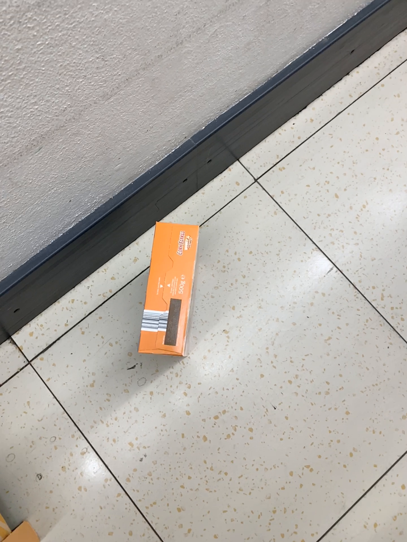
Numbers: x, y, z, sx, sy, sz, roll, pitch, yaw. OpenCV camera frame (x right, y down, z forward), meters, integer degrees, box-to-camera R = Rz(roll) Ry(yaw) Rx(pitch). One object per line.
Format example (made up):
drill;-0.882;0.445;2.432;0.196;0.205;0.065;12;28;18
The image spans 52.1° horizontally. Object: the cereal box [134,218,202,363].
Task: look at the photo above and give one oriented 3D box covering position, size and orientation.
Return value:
cereal box;-0.050;0.052;0.721;0.070;0.269;0.200;6;78;1
